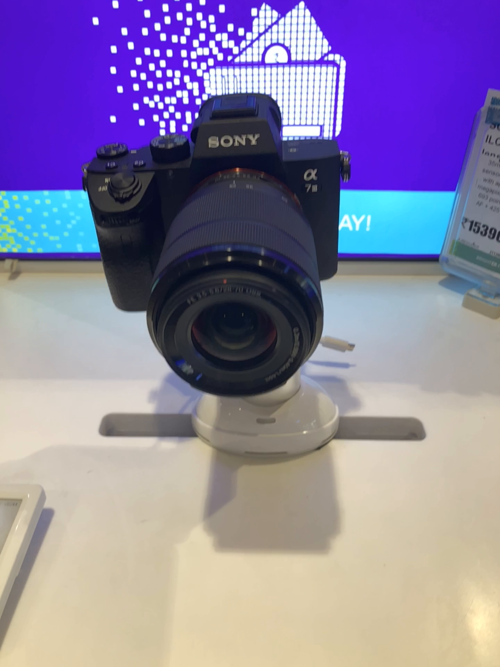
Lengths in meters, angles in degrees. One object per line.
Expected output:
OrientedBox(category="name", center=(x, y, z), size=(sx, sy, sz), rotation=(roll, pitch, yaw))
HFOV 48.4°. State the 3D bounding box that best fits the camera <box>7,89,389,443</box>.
OrientedBox(category="camera", center=(-0.021, -0.039, 0.259), size=(0.120, 0.109, 0.128), rotation=(-4, 36, -5))
